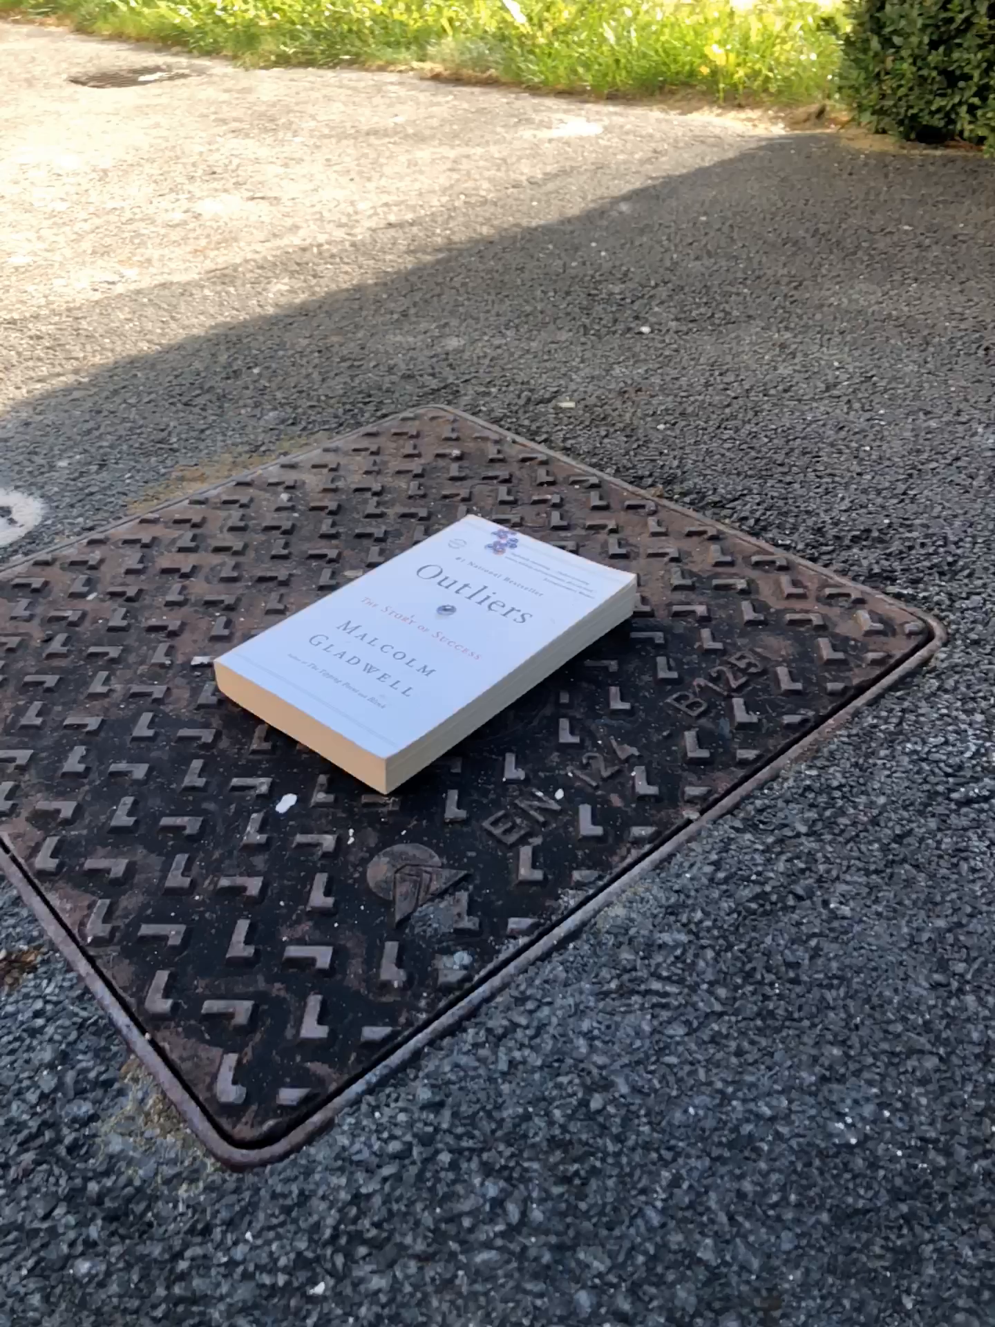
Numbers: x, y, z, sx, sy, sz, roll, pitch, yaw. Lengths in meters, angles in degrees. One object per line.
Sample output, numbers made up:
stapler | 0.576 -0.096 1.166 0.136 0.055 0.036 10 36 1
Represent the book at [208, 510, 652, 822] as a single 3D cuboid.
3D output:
book | -0.032 -0.012 0.614 0.139 0.030 0.210 27 45 33
